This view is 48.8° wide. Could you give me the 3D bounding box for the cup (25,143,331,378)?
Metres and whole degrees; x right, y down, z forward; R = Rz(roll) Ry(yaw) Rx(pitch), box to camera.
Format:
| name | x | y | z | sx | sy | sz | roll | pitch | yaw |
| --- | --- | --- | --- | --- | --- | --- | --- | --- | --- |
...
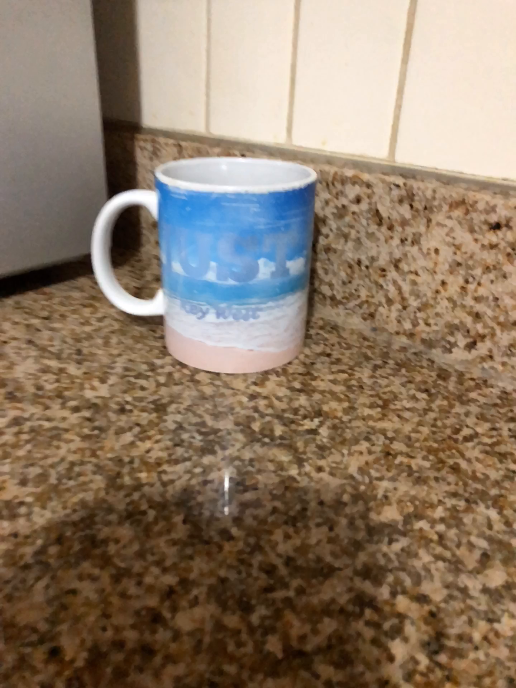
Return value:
| name | x | y | z | sx | sy | sz | roll | pitch | yaw |
| --- | --- | --- | --- | --- | --- | --- | --- | --- | --- |
| cup | -0.033 | -0.050 | 0.300 | 0.130 | 0.090 | 0.090 | 6 | 25 | 7 |
